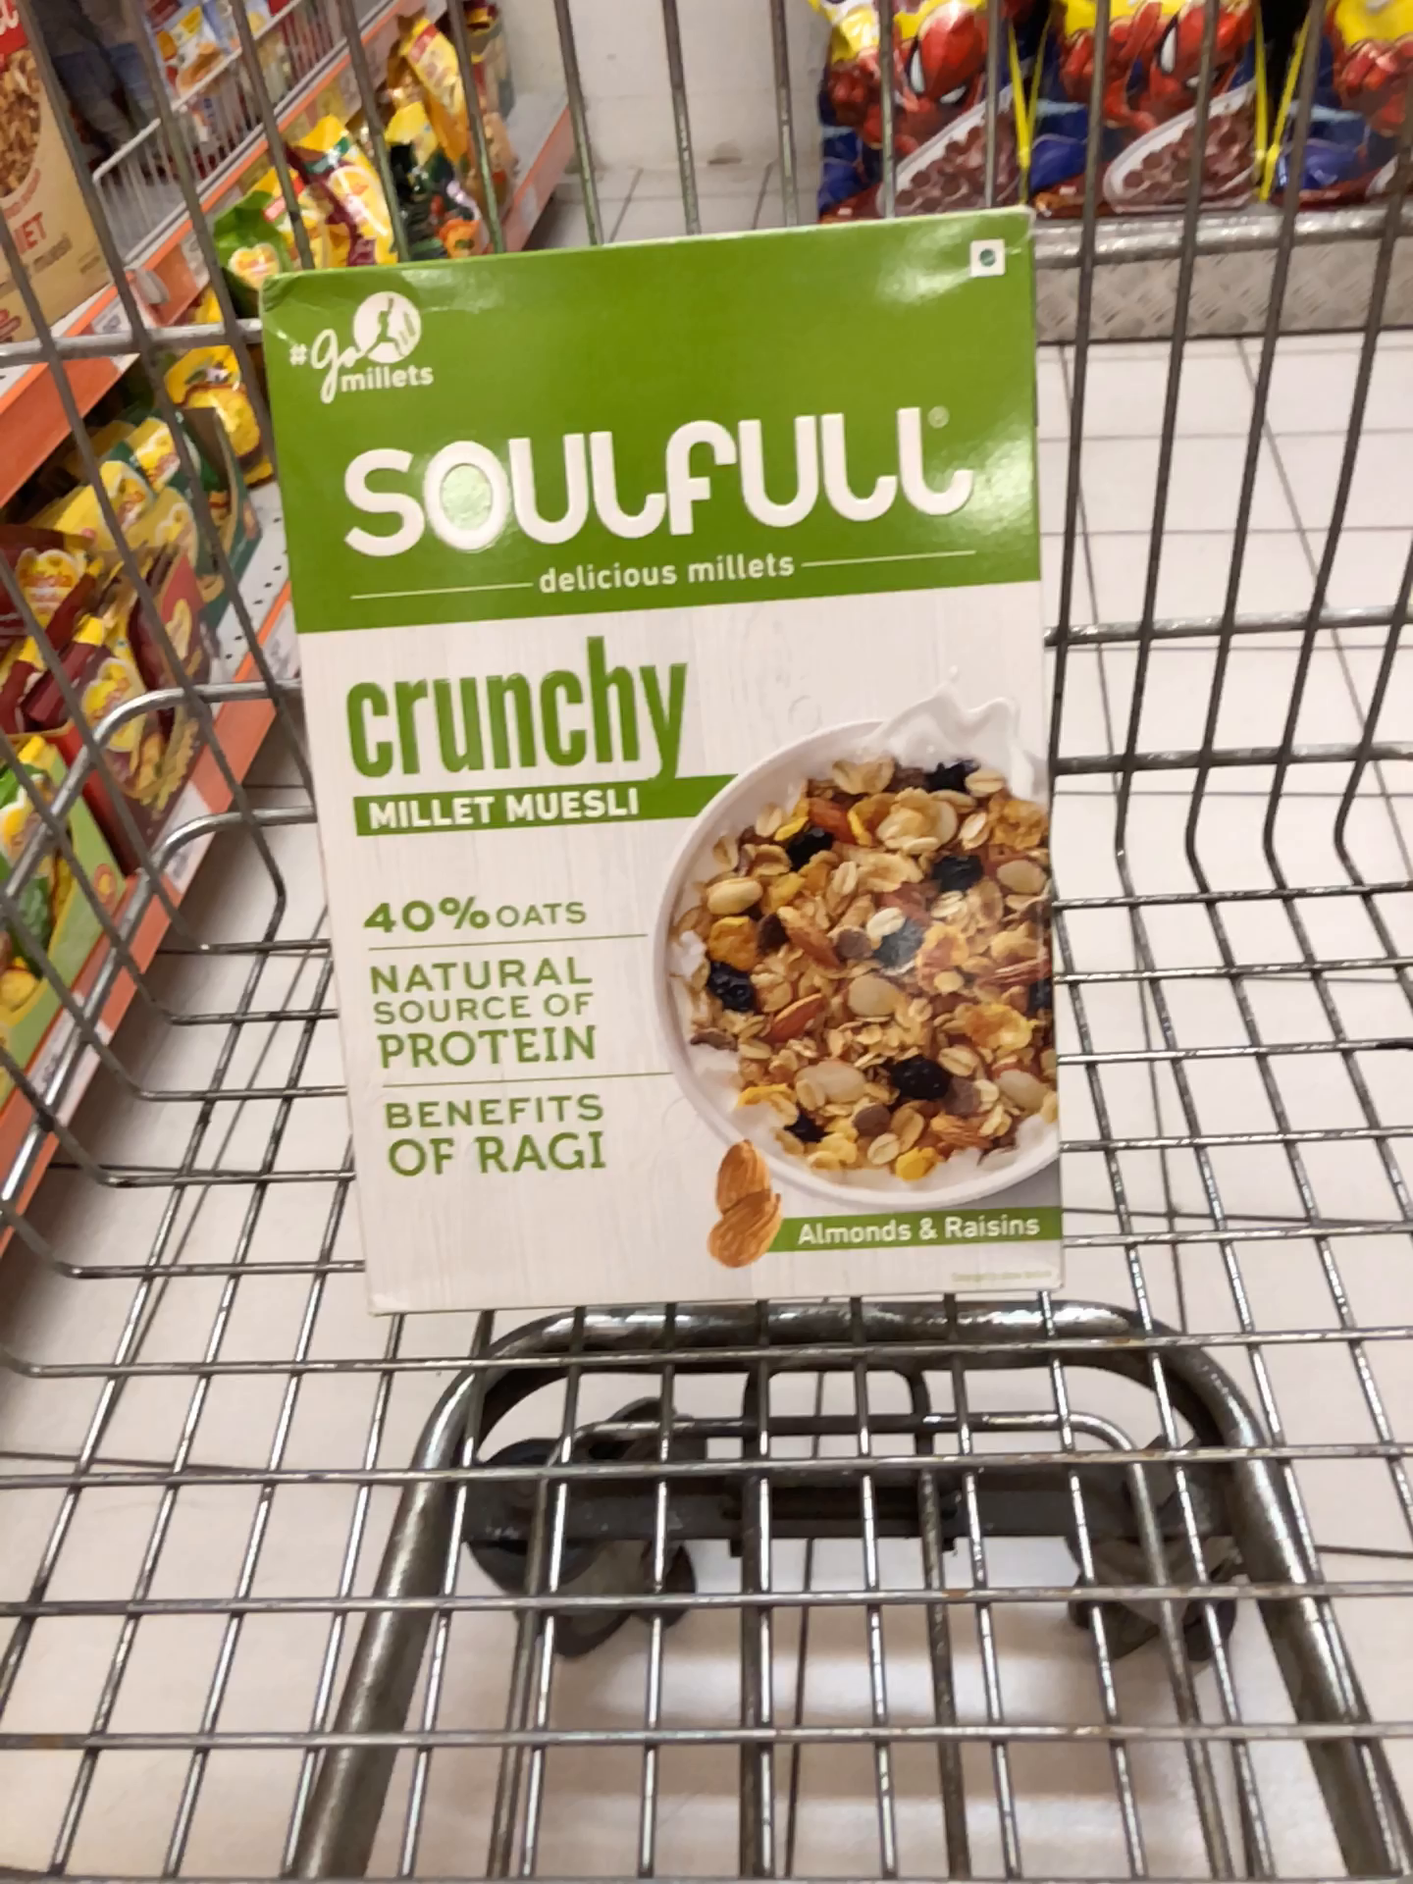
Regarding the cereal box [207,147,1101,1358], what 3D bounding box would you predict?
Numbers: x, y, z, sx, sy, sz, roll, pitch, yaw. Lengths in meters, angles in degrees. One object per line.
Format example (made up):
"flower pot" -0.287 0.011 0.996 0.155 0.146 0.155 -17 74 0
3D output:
"cereal box" -0.005 -0.036 0.357 0.170 0.239 0.070 -3 9 4
